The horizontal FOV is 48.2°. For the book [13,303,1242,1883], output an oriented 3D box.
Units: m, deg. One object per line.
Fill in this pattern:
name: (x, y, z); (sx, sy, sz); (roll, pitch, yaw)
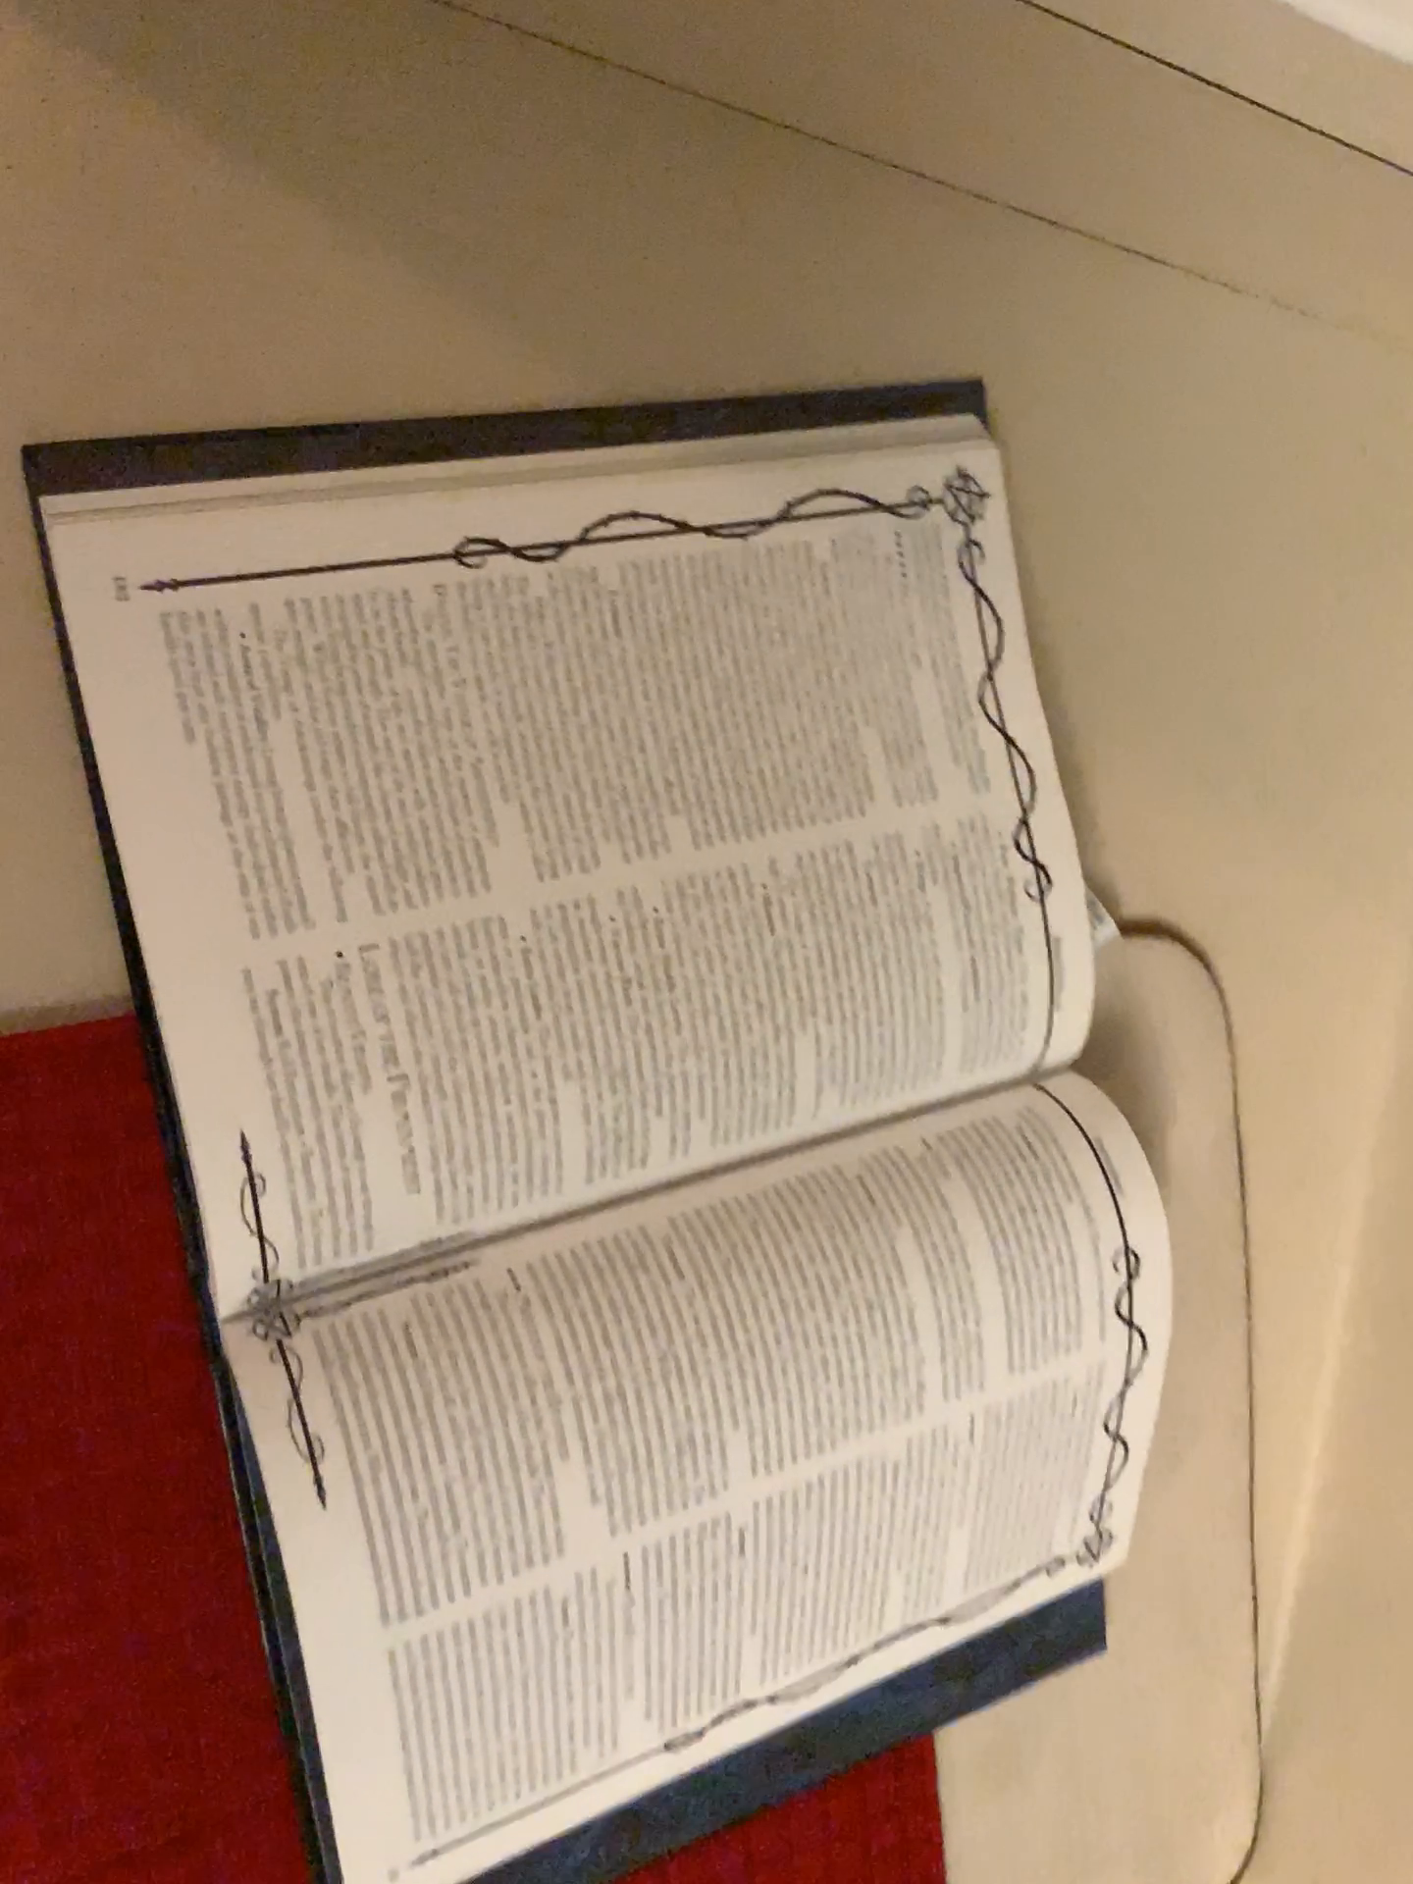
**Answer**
book: (0.008, 0.067, 0.464); (0.290, 0.060, 0.450); (-15, 104, -23)
